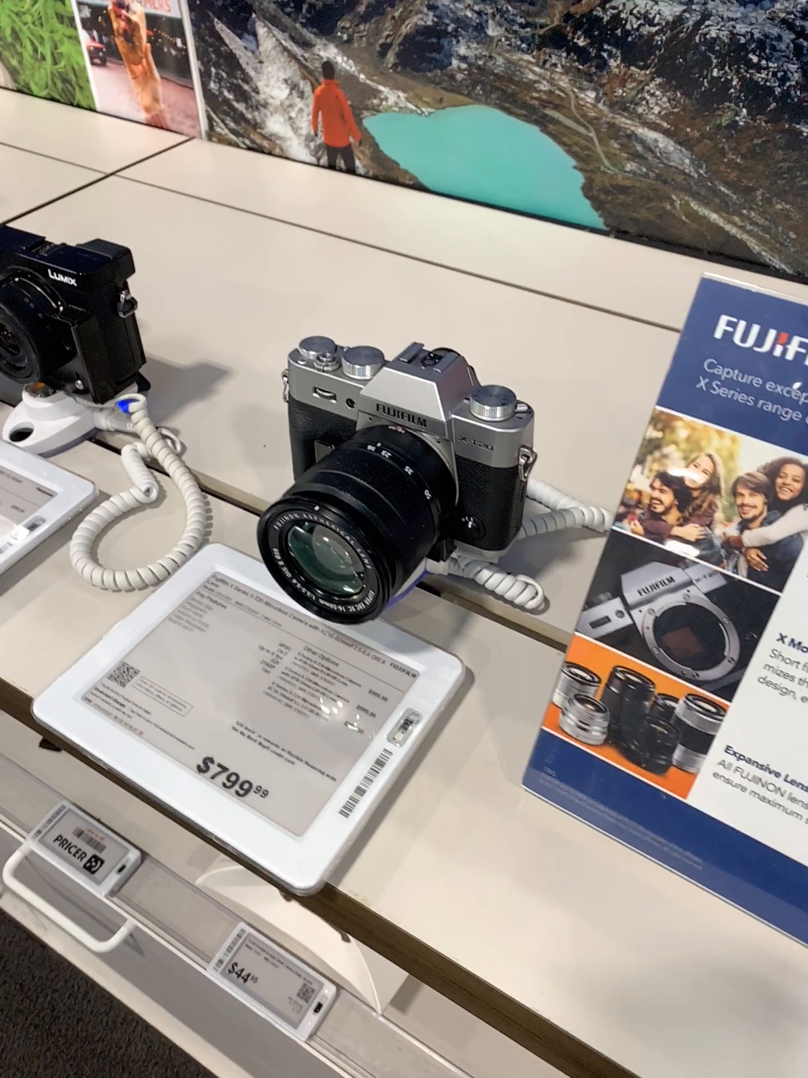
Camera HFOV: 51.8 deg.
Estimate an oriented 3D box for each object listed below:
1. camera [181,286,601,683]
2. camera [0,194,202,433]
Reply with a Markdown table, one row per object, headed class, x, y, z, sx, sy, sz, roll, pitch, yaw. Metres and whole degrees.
| class | x | y | z | sx | sy | sz | roll | pitch | yaw |
| --- | --- | --- | --- | --- | --- | --- | --- | --- | --- |
| camera | -0.001 | -0.031 | 0.355 | 0.120 | 0.080 | 0.120 | 22 | 49 | 22 |
| camera | -0.190 | -0.129 | 0.466 | 0.120 | 0.080 | 0.070 | 23 | 50 | 22 |
